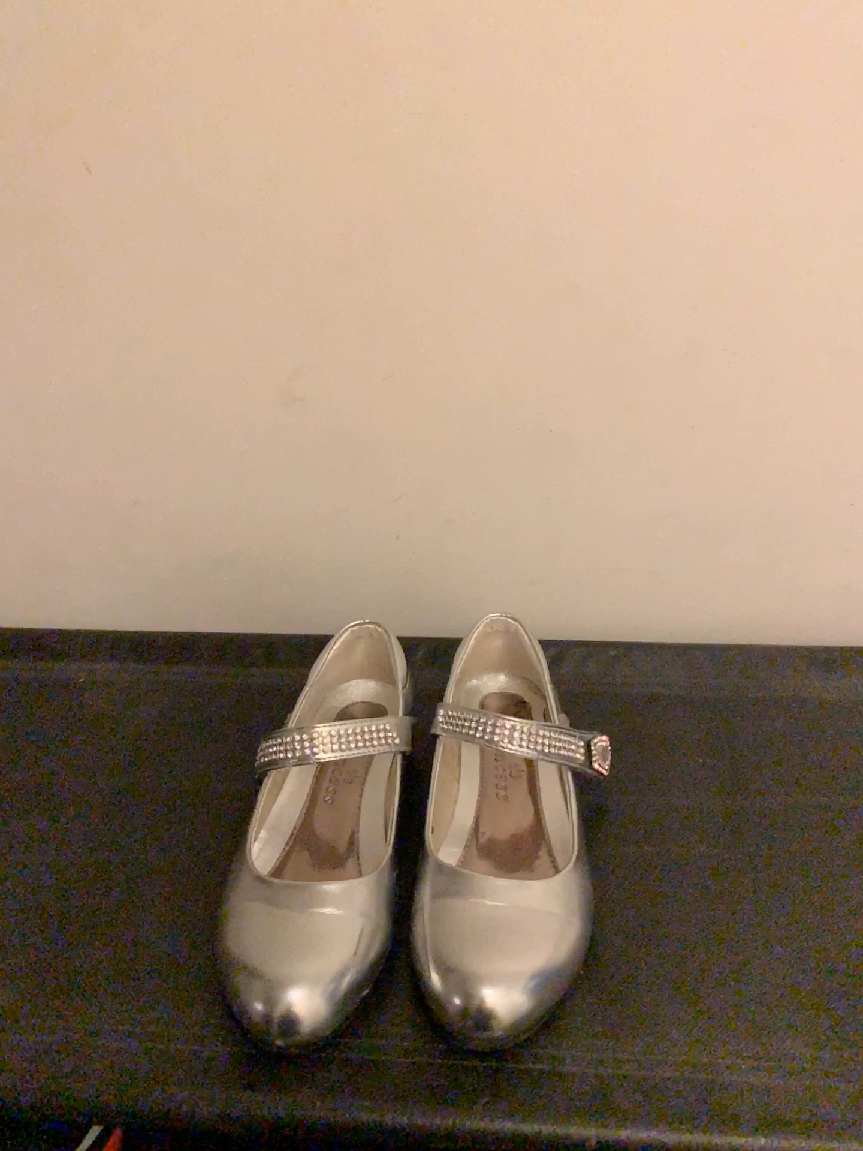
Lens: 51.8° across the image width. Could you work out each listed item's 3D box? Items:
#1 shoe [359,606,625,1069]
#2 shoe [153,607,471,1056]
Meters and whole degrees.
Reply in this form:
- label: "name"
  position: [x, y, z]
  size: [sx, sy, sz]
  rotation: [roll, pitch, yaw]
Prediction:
- label: "shoe"
  position: [0.036, 0.102, 0.398]
  size: [0.090, 0.089, 0.182]
  rotation: [-1, 31, 10]
- label: "shoe"
  position: [-0.039, 0.103, 0.409]
  size: [0.090, 0.089, 0.182]
  rotation: [-1, 31, 10]
